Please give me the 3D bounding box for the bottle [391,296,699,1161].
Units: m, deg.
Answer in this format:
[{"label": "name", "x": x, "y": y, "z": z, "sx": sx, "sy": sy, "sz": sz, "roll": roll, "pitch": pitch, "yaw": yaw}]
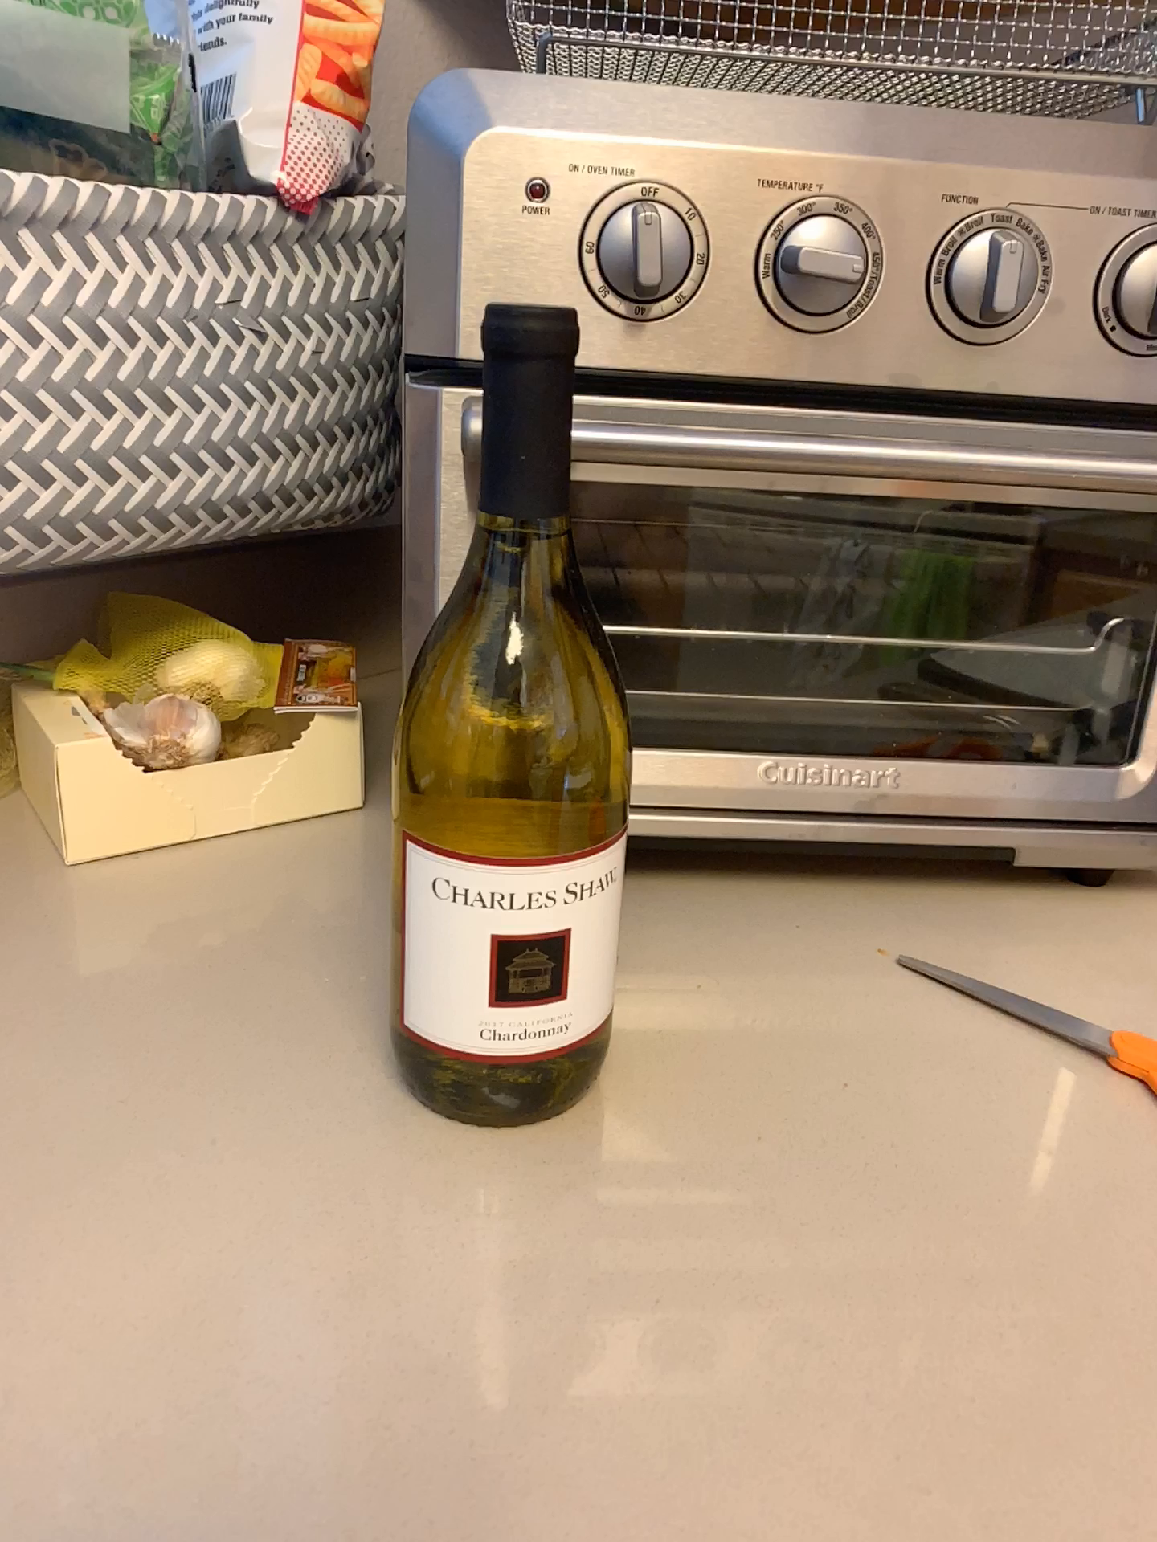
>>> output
[{"label": "bottle", "x": -0.020, "y": -0.008, "z": 0.388, "sx": 0.080, "sy": 0.269, "sz": 0.070, "roll": 0, "pitch": 21, "yaw": -8}]
